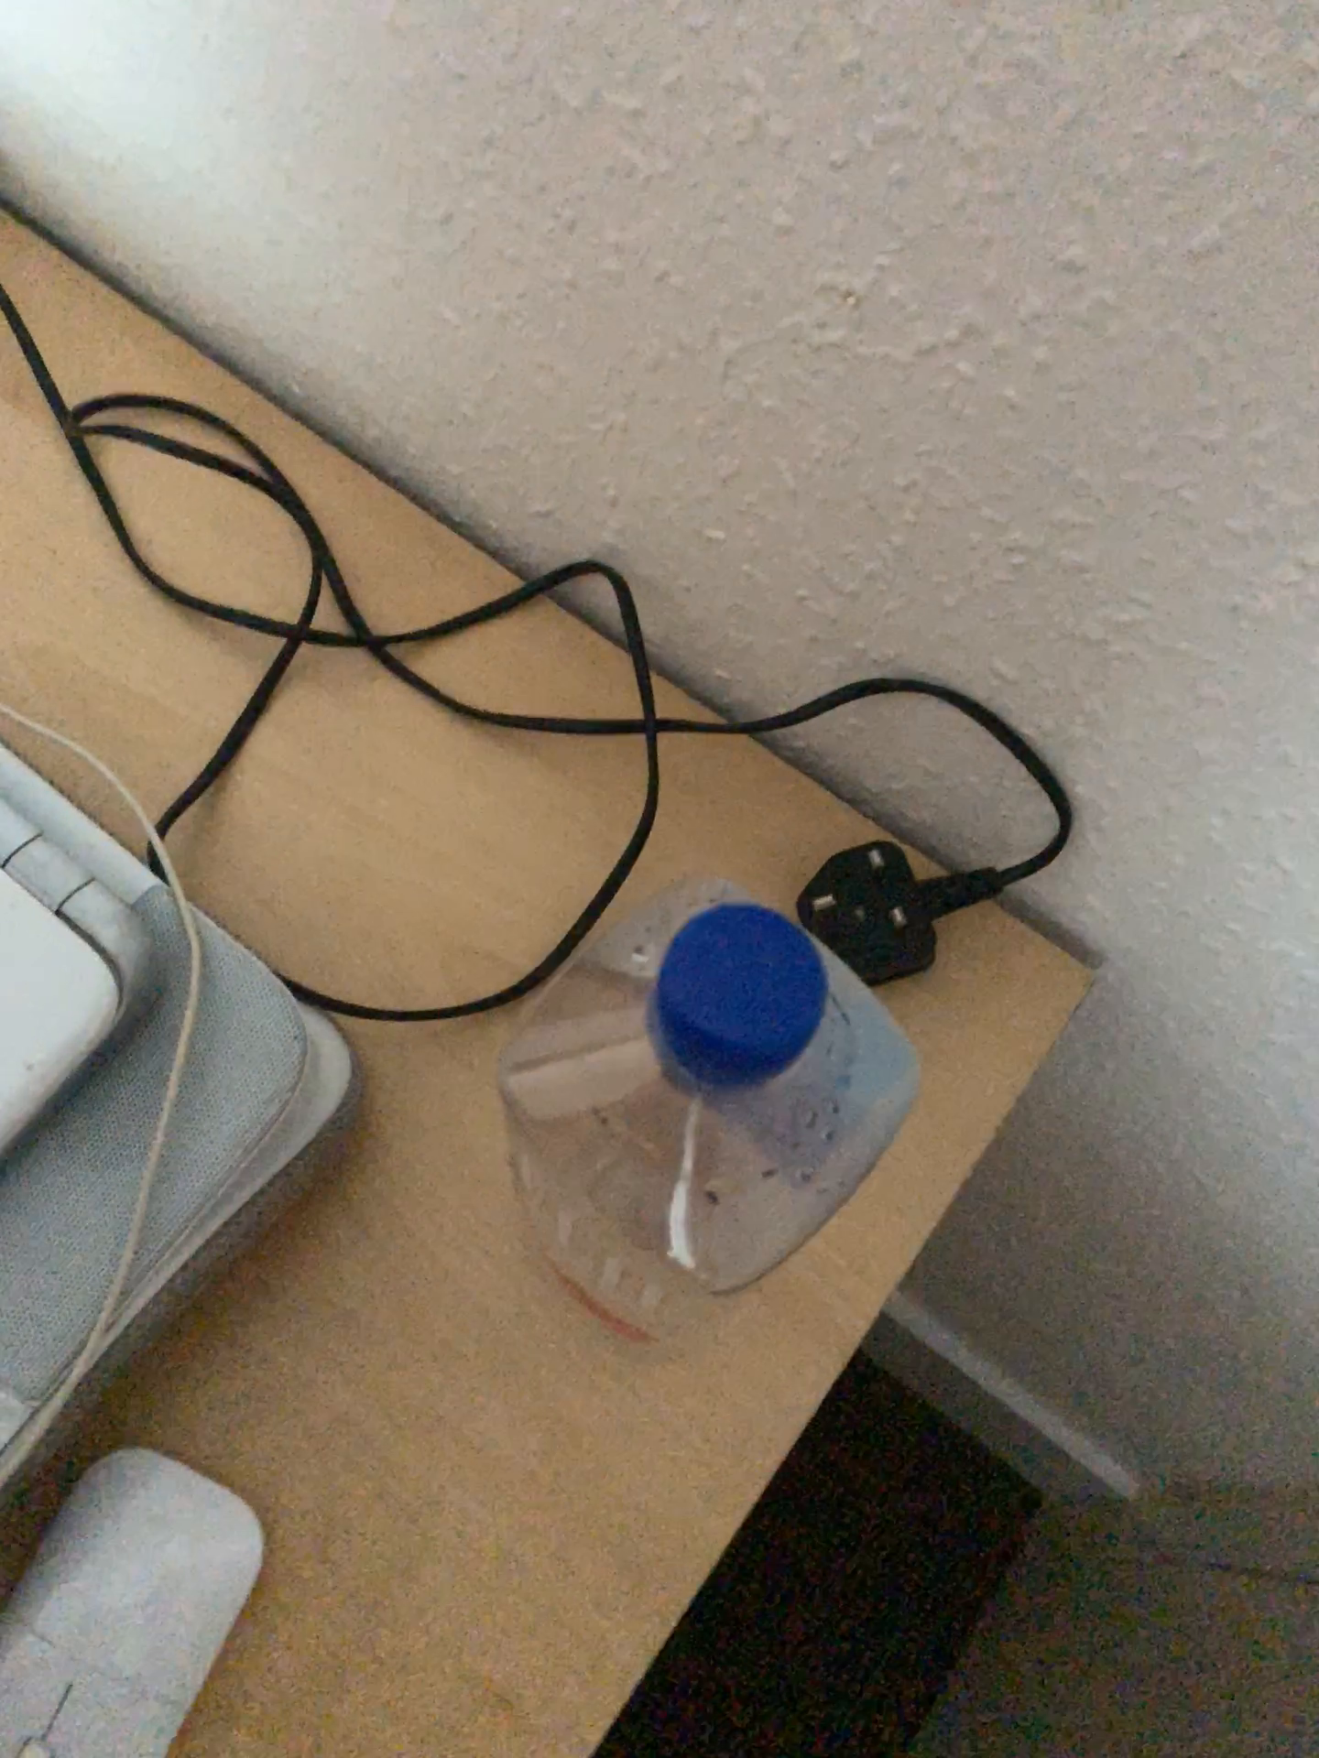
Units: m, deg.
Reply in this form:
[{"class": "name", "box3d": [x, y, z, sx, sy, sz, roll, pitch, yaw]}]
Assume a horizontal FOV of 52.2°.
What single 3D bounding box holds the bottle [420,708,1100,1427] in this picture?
[{"class": "bottle", "box3d": [0.008, 0.065, 0.329, 0.090, 0.209, 0.080, 38, 67, 11]}]
